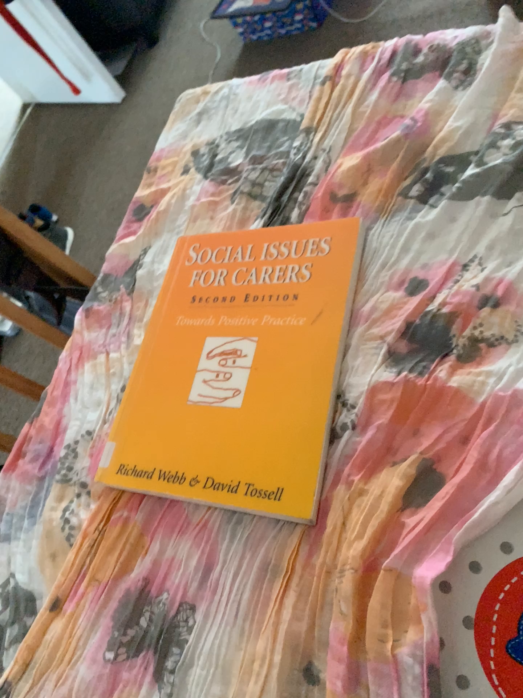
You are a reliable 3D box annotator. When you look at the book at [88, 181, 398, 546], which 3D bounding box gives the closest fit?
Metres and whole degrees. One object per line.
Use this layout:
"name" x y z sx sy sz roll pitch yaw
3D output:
"book" -0.010 -0.002 0.438 0.201 0.040 0.271 0 64 29
